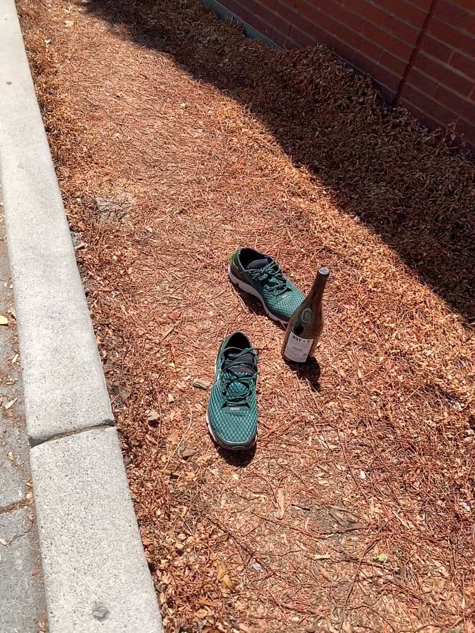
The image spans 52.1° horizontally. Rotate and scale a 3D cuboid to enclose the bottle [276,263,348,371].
[{"bbox_3d":[0.171,0.007,1.152,0.090,0.259,0.090,6,49,-7],"label":"bottle"}]
